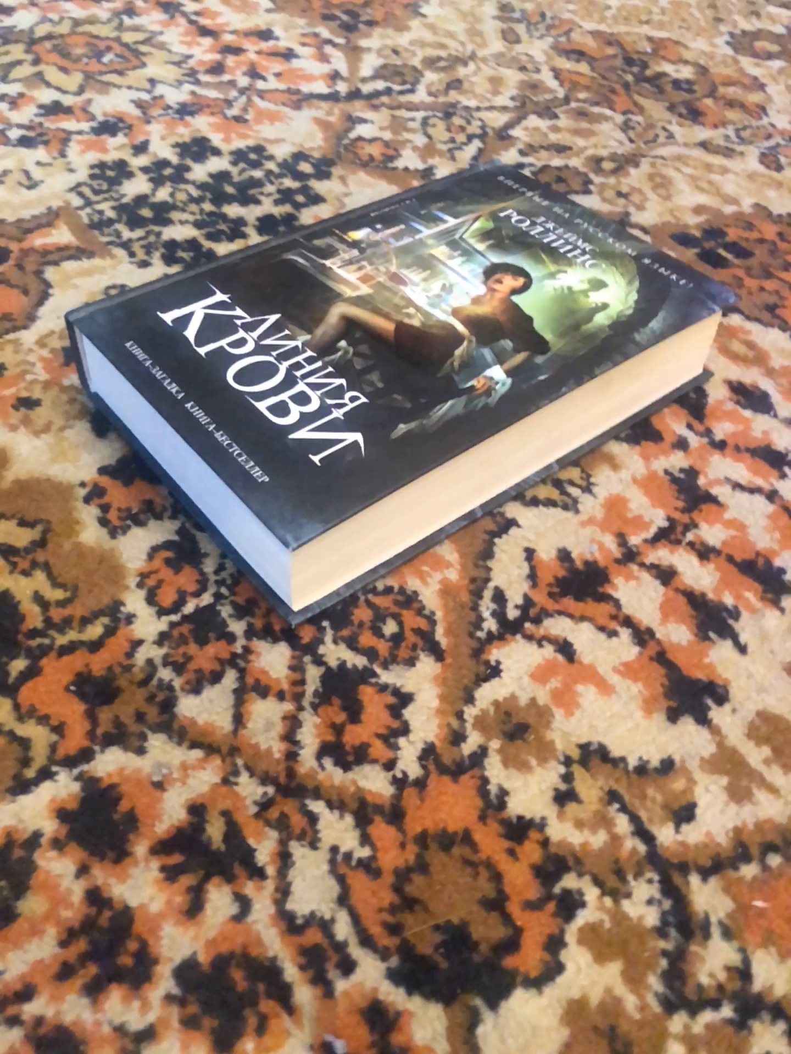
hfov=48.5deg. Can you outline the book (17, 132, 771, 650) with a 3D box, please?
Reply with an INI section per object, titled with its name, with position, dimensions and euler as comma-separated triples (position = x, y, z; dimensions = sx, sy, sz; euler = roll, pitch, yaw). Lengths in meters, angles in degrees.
[book]
position = 0.003, -0.075, 0.335
dimensions = 0.226, 0.040, 0.159
euler = -30, 56, -27
